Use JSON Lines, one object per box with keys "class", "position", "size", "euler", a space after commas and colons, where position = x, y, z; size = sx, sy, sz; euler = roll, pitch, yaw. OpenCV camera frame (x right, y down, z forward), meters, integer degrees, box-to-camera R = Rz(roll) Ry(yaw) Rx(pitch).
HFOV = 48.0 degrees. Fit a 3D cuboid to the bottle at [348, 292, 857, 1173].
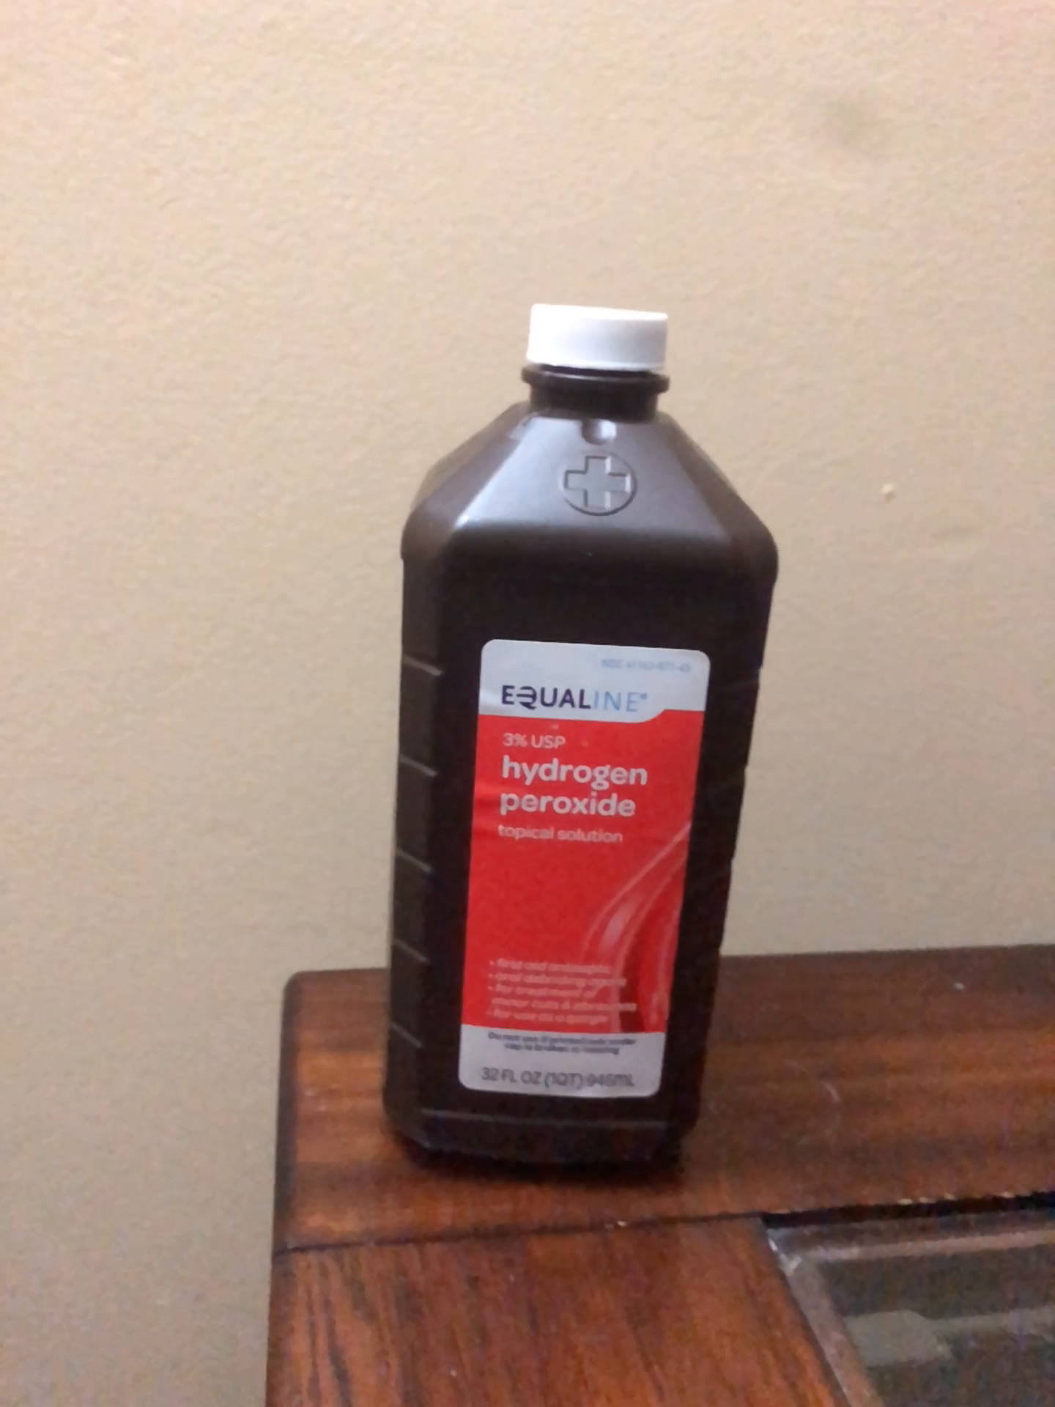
{"class": "bottle", "position": [0.008, 0.005, 0.283], "size": [0.090, 0.190, 0.080], "euler": [3, 19, -3]}
